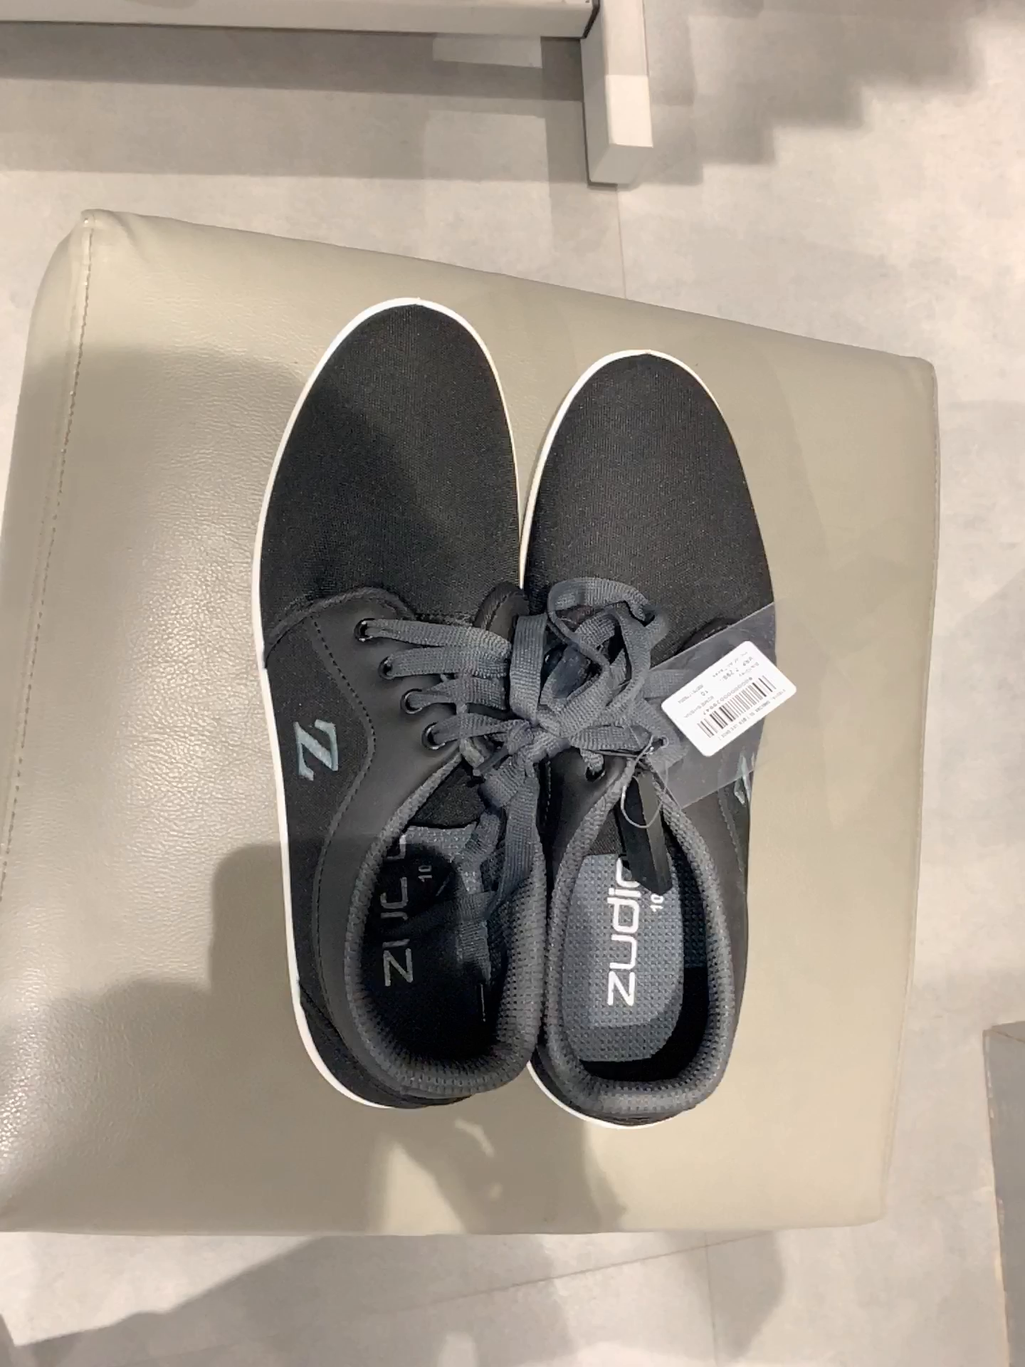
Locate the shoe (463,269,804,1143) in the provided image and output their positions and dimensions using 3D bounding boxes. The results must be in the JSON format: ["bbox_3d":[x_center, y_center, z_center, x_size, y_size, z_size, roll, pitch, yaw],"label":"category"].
[{"bbox_3d":[0.040,0.008,0.391,0.100,0.100,0.280,2,86,-7],"label":"shoe"}]

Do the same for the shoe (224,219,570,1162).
[{"bbox_3d":[-0.043,0.002,0.360,0.100,0.100,0.270,1,86,-13],"label":"shoe"}]
